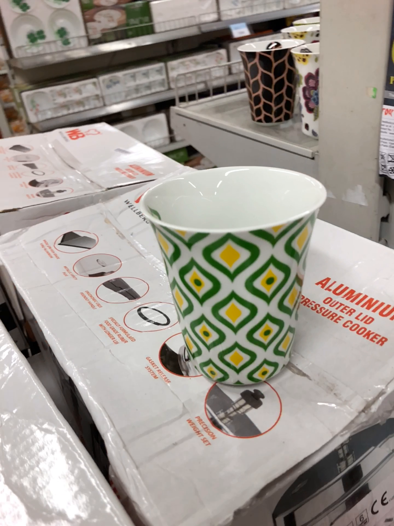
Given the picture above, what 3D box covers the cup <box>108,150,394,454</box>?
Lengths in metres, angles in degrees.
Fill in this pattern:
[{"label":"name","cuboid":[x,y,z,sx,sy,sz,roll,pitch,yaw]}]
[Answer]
[{"label":"cup","cuboid":[0.024,0.006,0.223,0.090,0.089,0.110,-19,32,-26]}]
